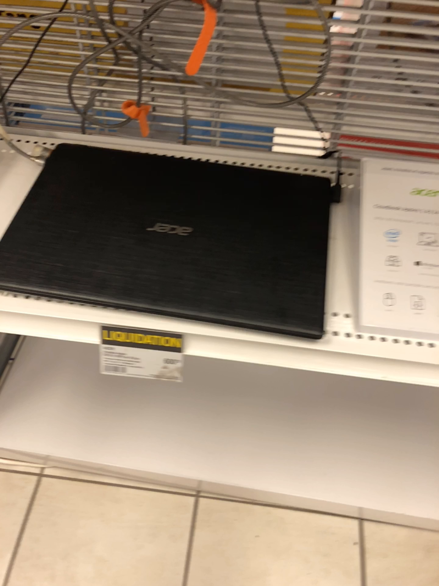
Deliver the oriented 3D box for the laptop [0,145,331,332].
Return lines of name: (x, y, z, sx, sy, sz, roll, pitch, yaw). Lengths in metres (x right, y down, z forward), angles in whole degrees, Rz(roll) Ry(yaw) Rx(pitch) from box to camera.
laptop: (-0.057, -0.083, 0.590, 0.374, 0.003, 0.248, 9, 52, 4)
